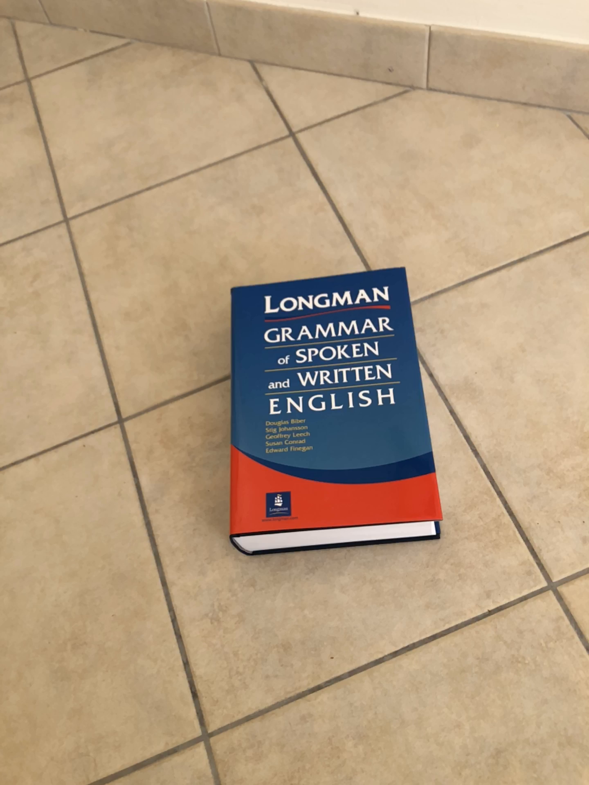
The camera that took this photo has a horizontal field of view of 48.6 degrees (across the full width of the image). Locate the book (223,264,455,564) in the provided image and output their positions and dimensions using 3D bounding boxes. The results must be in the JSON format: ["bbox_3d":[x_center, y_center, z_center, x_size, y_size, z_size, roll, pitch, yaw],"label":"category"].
[{"bbox_3d":[0.031,0.013,0.581,0.177,0.060,0.251,-6,61,6],"label":"book"}]
